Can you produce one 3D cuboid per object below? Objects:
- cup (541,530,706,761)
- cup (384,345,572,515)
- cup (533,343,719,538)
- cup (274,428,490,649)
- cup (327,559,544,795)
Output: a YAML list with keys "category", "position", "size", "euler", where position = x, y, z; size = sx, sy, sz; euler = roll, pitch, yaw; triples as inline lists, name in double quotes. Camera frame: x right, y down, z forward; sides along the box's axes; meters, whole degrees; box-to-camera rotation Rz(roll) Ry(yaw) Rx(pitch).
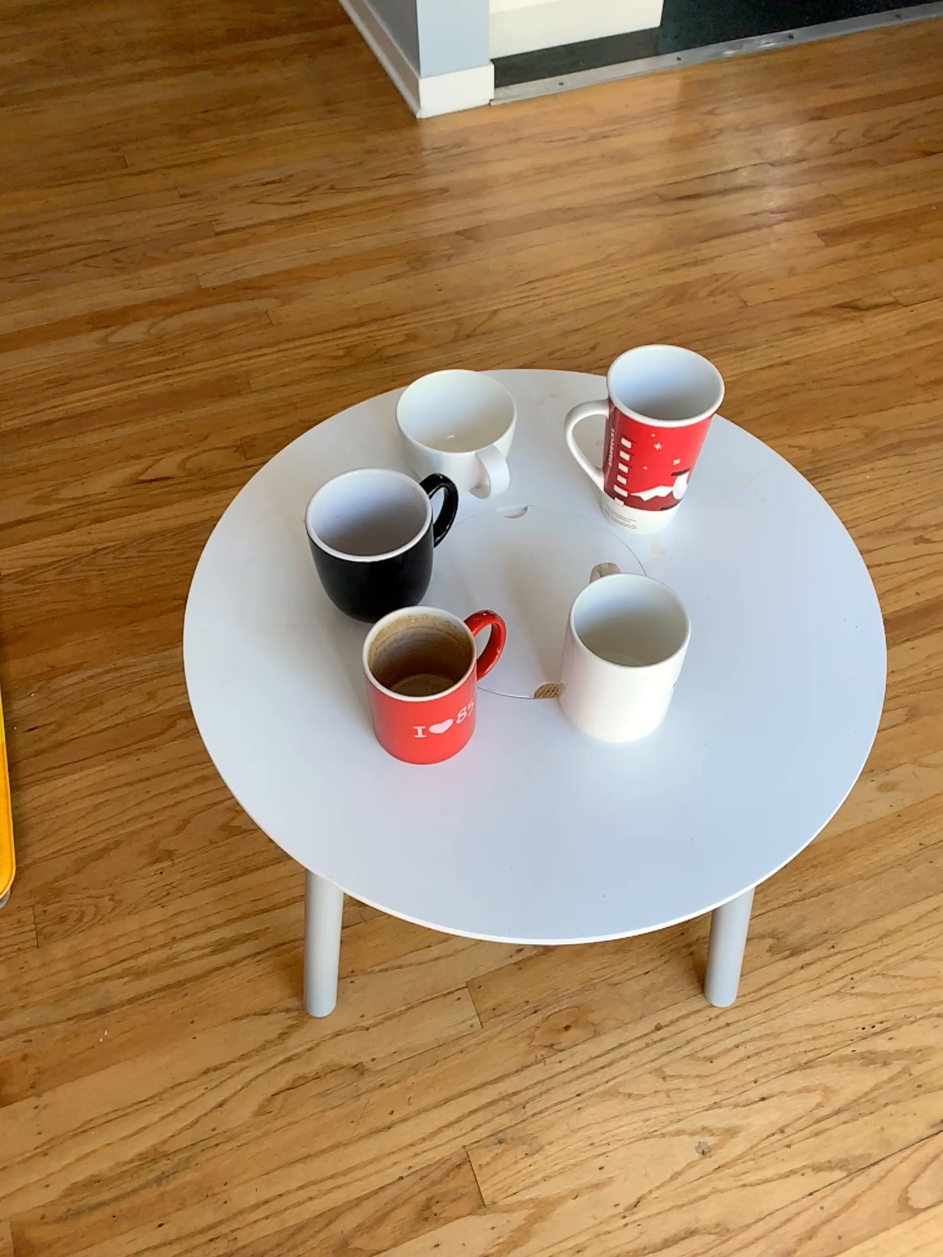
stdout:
- category: "cup"
  position: [0.103, 0.013, 0.694]
  size: [0.090, 0.100, 0.130]
  euler: [-1, 55, -1]
- category: "cup"
  position: [0.003, -0.163, 0.782]
  size: [0.100, 0.040, 0.120]
  euler: [-27, 60, -18]
- category: "cup"
  position: [0.120, -0.153, 0.798]
  size: [0.130, 0.120, 0.100]
  euler: [1, 55, 1]
- category: "cup"
  position: [-0.065, -0.070, 0.738]
  size: [0.130, 0.080, 0.090]
  euler: [-35, 62, -22]
- category: "cup"
  position: [-0.023, 0.033, 0.676]
  size: [0.120, 0.090, 0.080]
  euler: [-35, 62, -22]
